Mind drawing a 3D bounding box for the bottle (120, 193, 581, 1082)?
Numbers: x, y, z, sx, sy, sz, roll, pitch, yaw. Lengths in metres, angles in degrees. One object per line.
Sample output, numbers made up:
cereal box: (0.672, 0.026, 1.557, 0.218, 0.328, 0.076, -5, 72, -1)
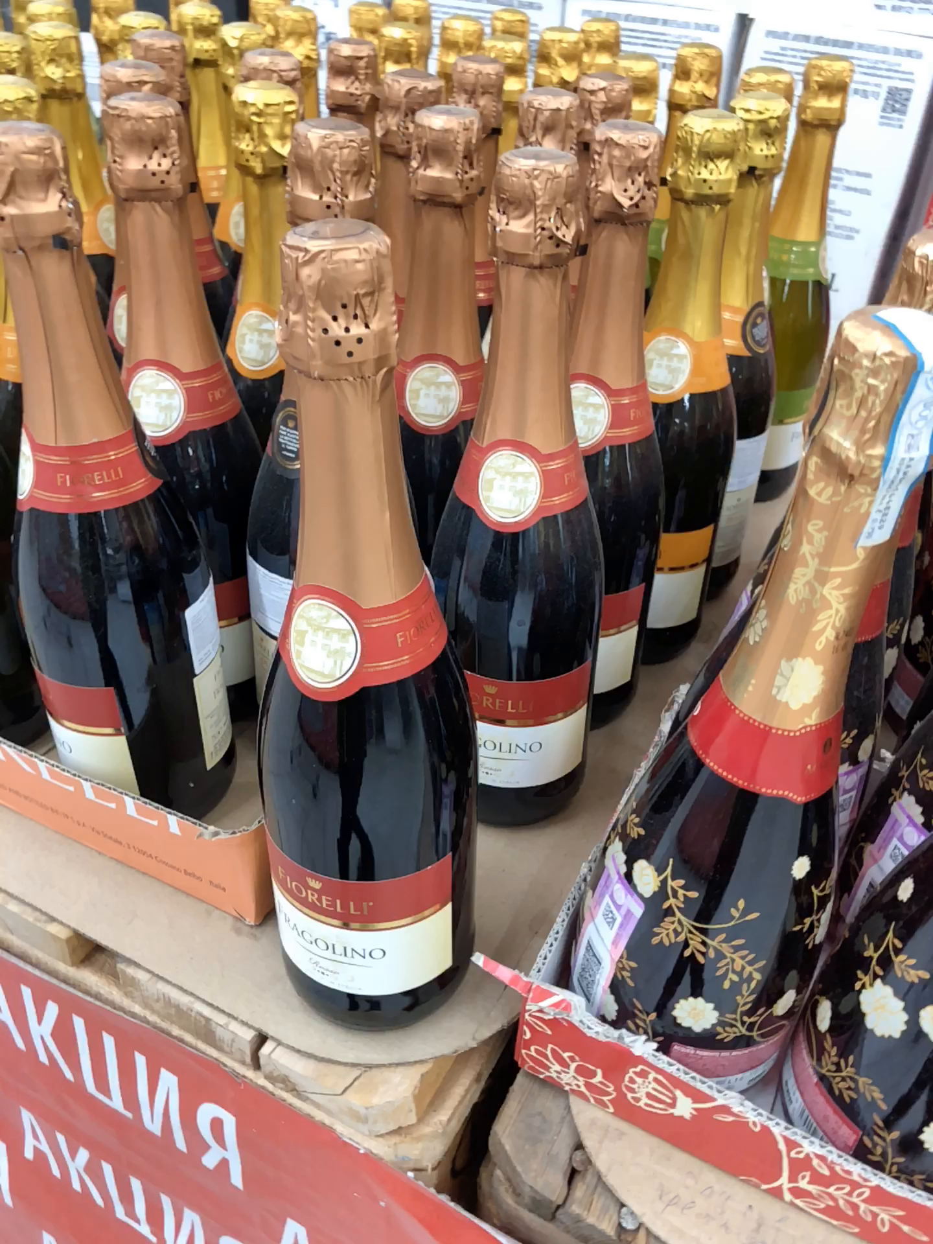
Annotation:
bottle: (-0.034, 0.022, 0.364, 0.090, 0.298, 0.090, 2, 35, -2)
